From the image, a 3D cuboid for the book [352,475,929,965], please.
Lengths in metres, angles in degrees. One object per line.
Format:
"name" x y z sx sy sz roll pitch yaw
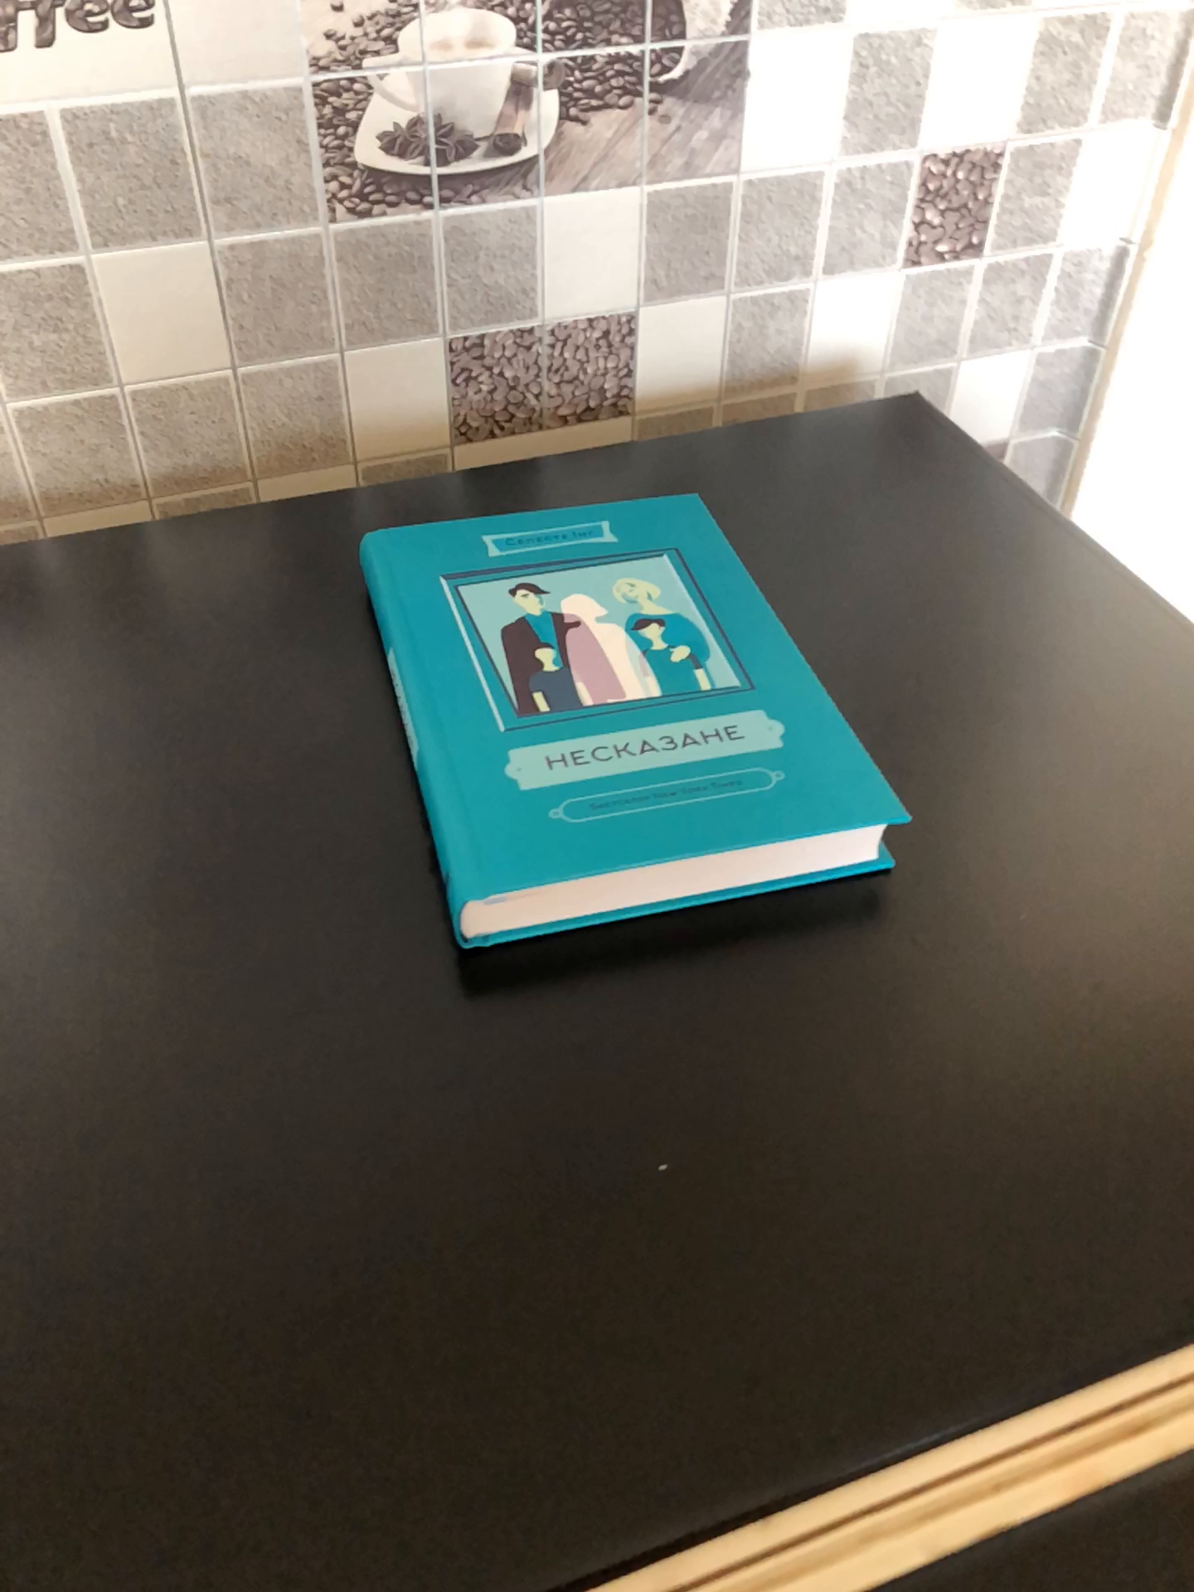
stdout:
"book" 0.002 -0.042 0.476 0.150 0.030 0.211 -10 44 -12
